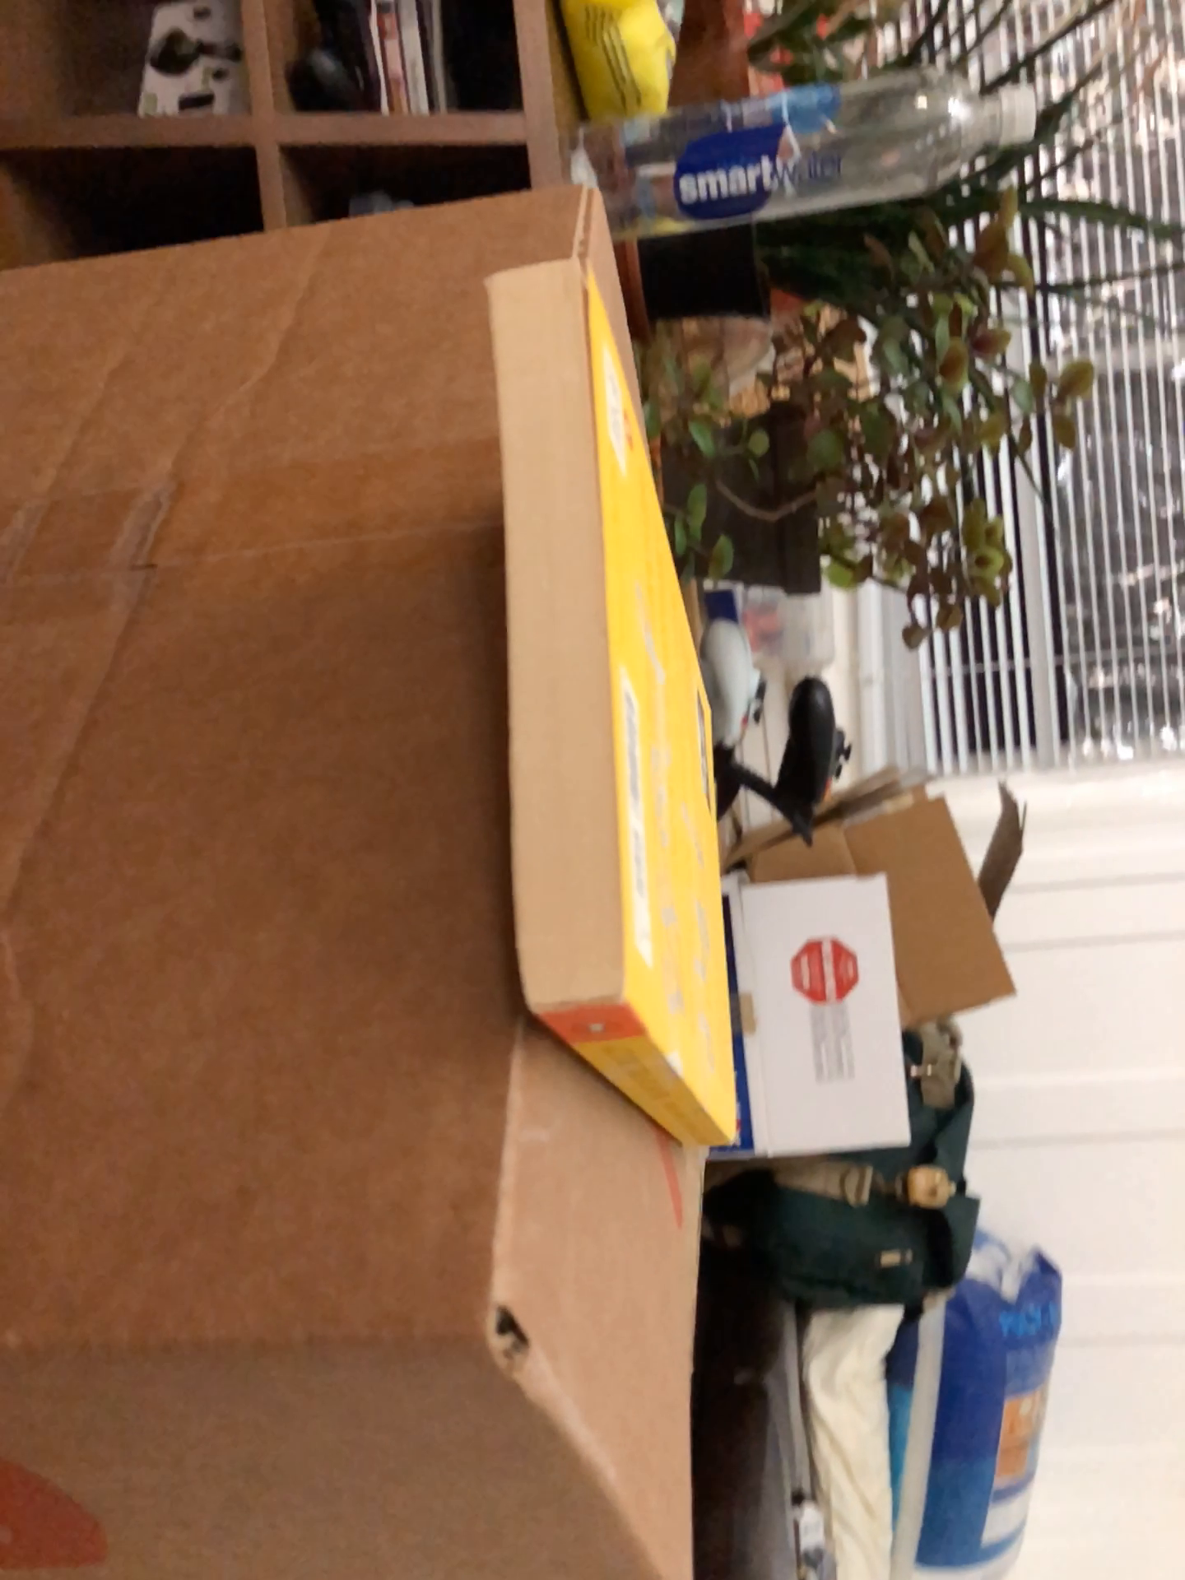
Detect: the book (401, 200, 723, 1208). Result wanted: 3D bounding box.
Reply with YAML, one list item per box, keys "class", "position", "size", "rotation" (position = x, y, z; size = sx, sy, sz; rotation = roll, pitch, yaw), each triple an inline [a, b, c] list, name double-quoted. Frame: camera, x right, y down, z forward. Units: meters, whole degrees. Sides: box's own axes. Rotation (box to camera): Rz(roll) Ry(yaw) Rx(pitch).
- class: "book"
  position: [0.004, 0.009, 0.290]
  size: [0.210, 0.020, 0.150]
  rotation: [61, 26, -67]
